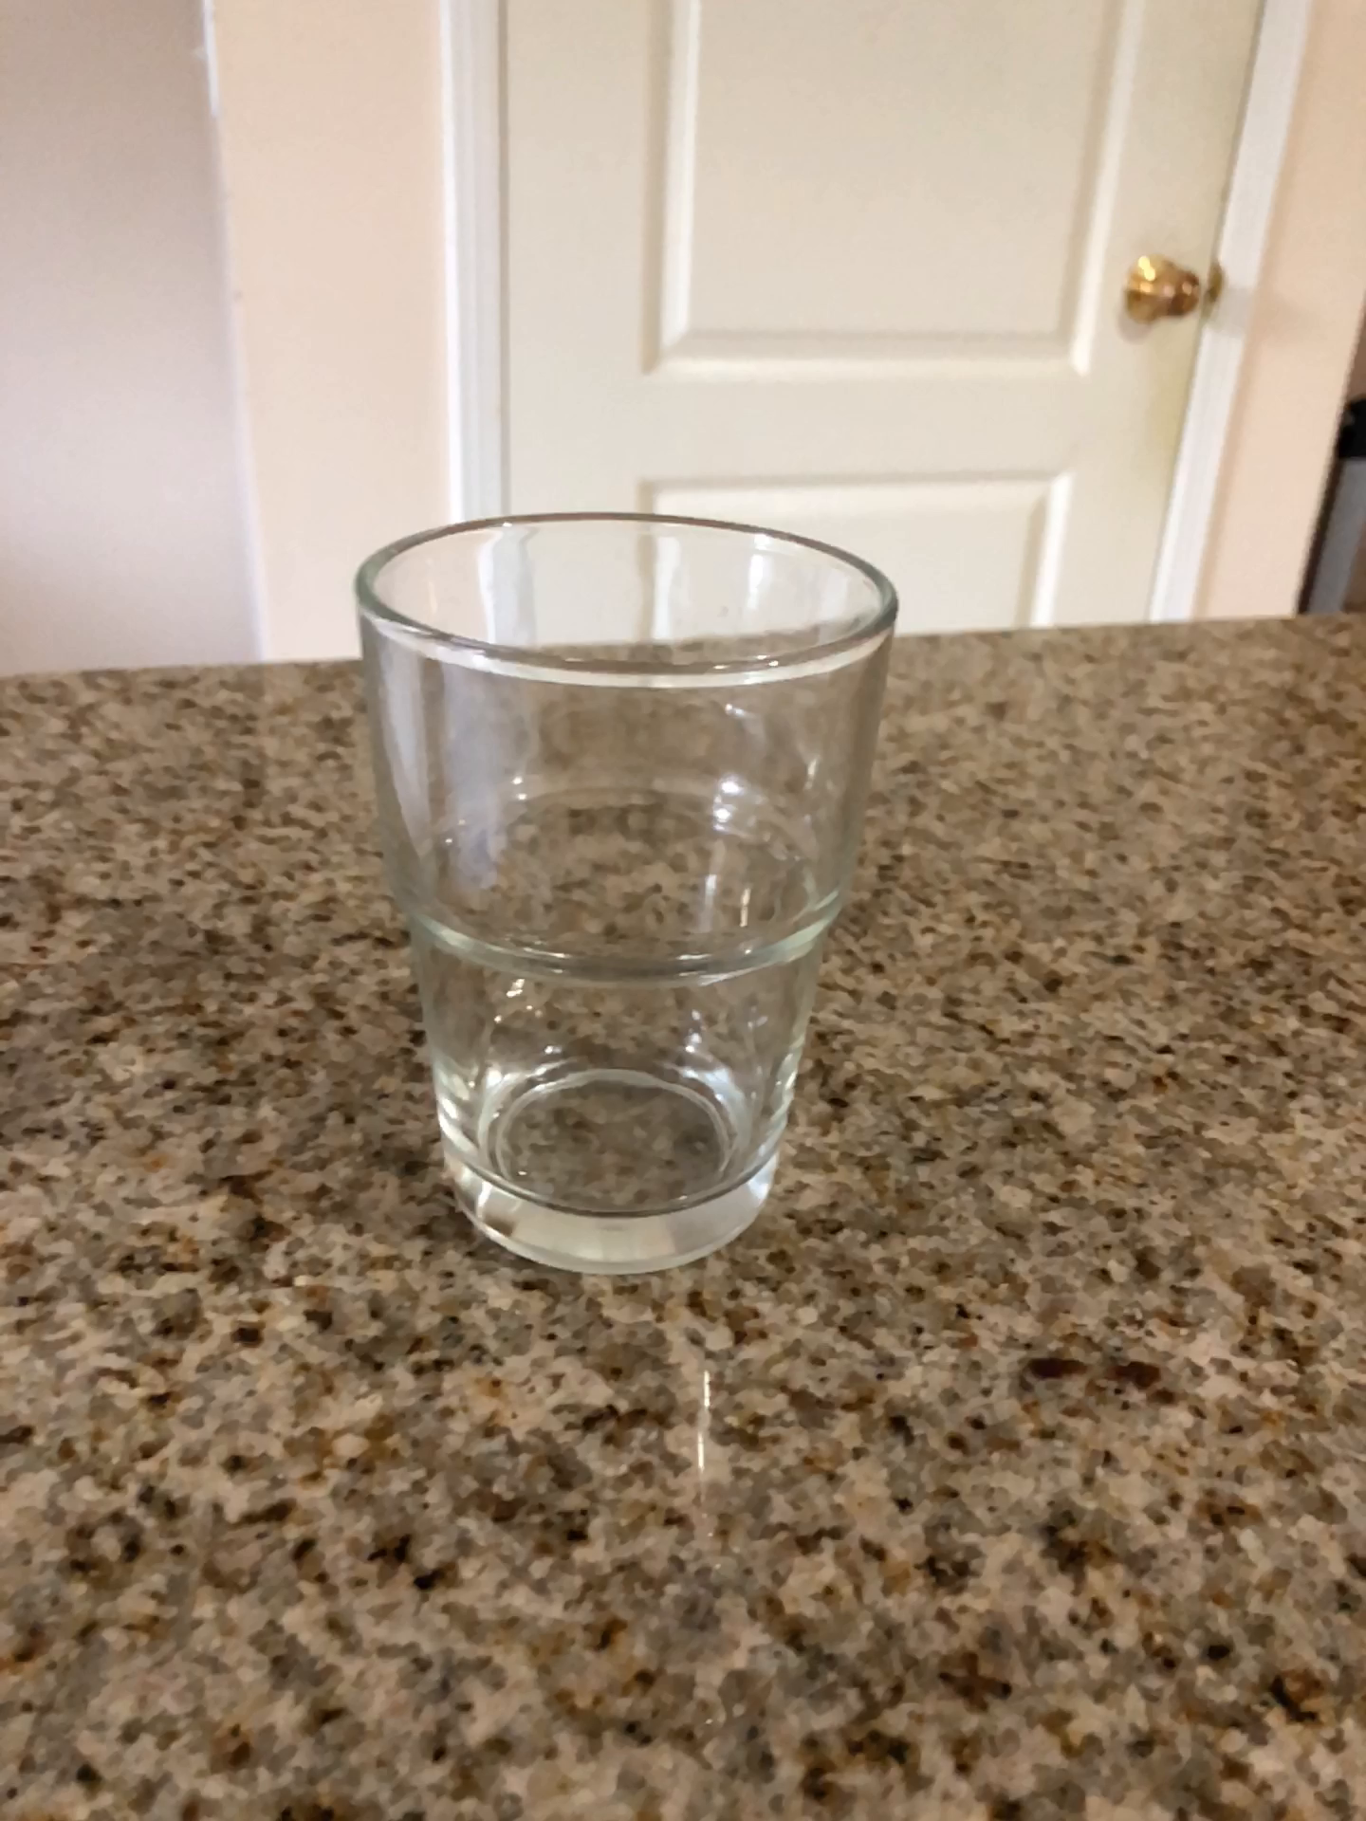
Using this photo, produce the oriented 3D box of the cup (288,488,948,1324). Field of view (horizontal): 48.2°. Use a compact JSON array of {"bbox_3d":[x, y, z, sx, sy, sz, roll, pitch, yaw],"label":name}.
[{"bbox_3d":[-0.009,-0.006,0.243,0.070,0.100,0.070,2,27,-1],"label":"cup"}]
